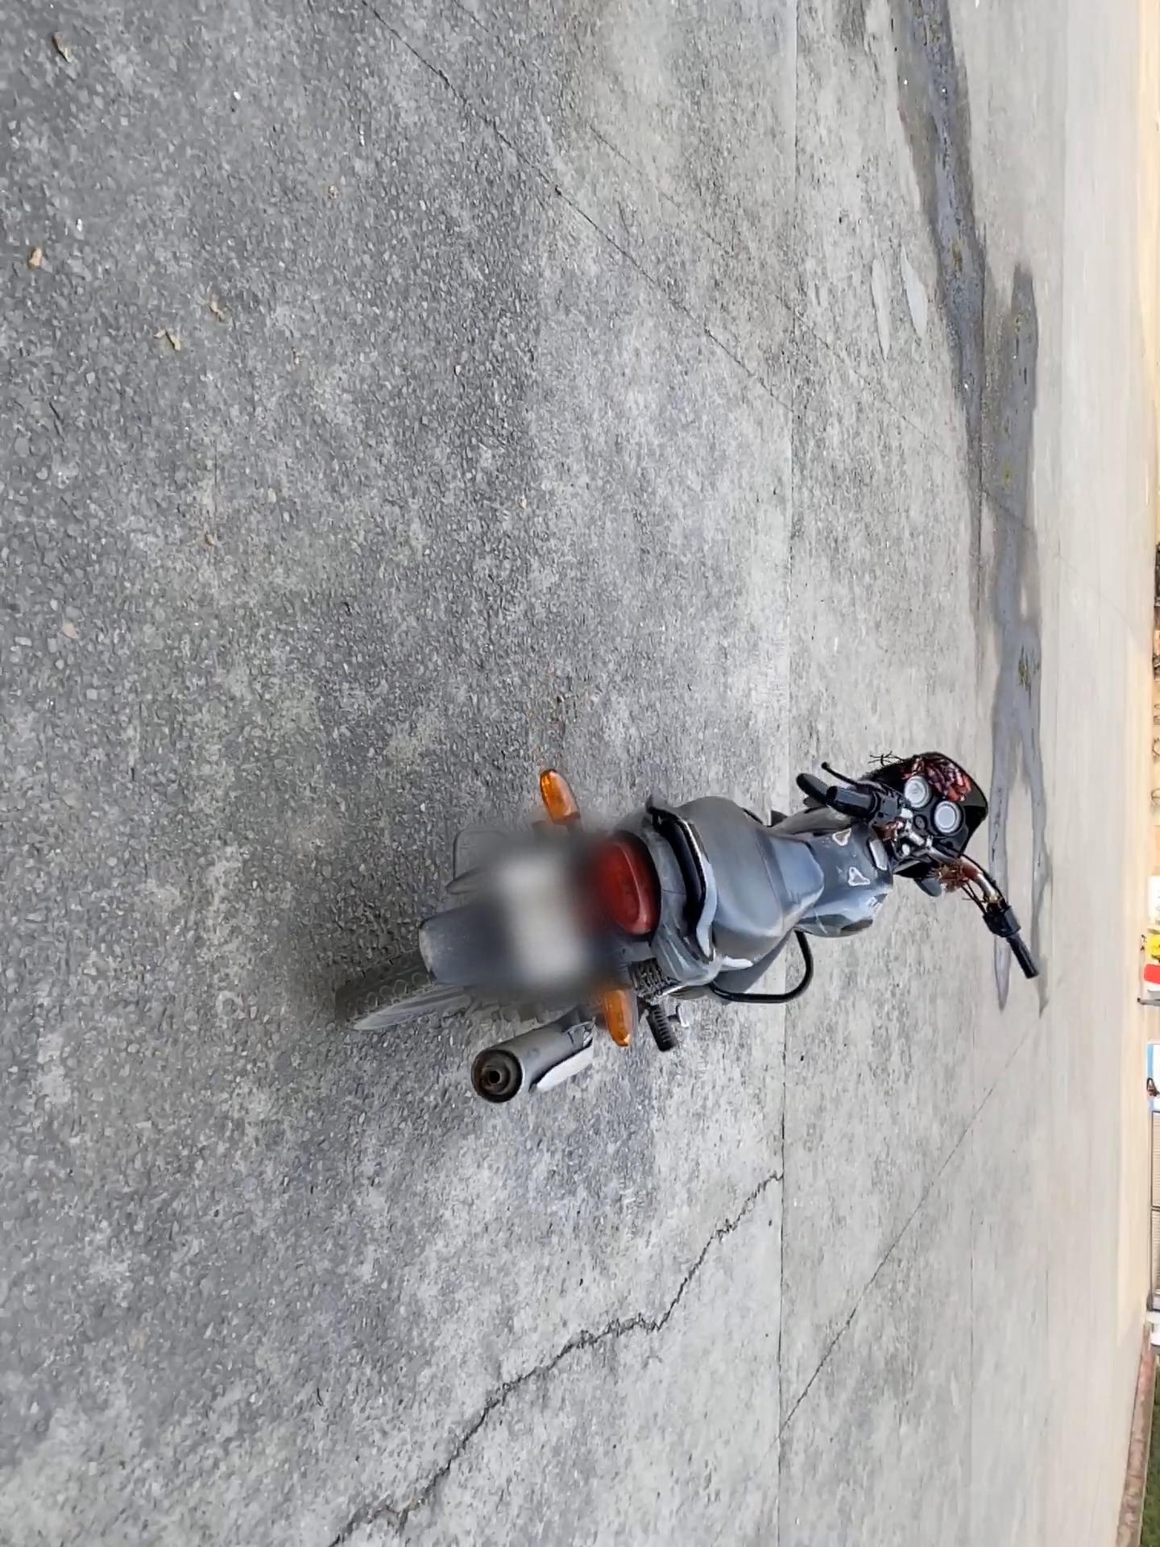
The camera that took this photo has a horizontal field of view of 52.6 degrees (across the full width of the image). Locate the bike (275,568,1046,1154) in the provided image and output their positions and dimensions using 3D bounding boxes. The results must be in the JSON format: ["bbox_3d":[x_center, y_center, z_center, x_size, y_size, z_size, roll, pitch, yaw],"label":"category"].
[{"bbox_3d":[0.348,0.047,2.579,1.747,1.078,0.771,-7,97,-62],"label":"bike"}]
